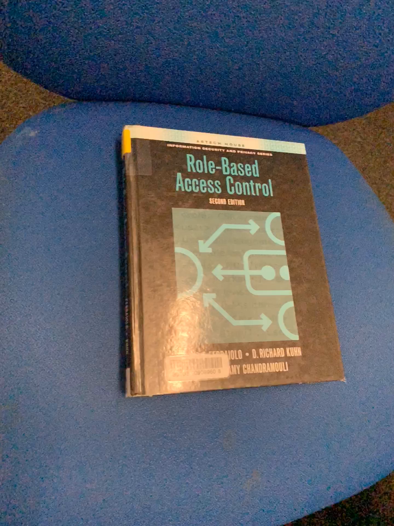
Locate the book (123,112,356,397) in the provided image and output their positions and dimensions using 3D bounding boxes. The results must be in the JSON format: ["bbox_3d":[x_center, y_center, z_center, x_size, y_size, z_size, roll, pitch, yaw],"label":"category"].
[{"bbox_3d":[0.031,-0.013,0.363,0.190,0.030,0.241,1,72,-16],"label":"book"}]
